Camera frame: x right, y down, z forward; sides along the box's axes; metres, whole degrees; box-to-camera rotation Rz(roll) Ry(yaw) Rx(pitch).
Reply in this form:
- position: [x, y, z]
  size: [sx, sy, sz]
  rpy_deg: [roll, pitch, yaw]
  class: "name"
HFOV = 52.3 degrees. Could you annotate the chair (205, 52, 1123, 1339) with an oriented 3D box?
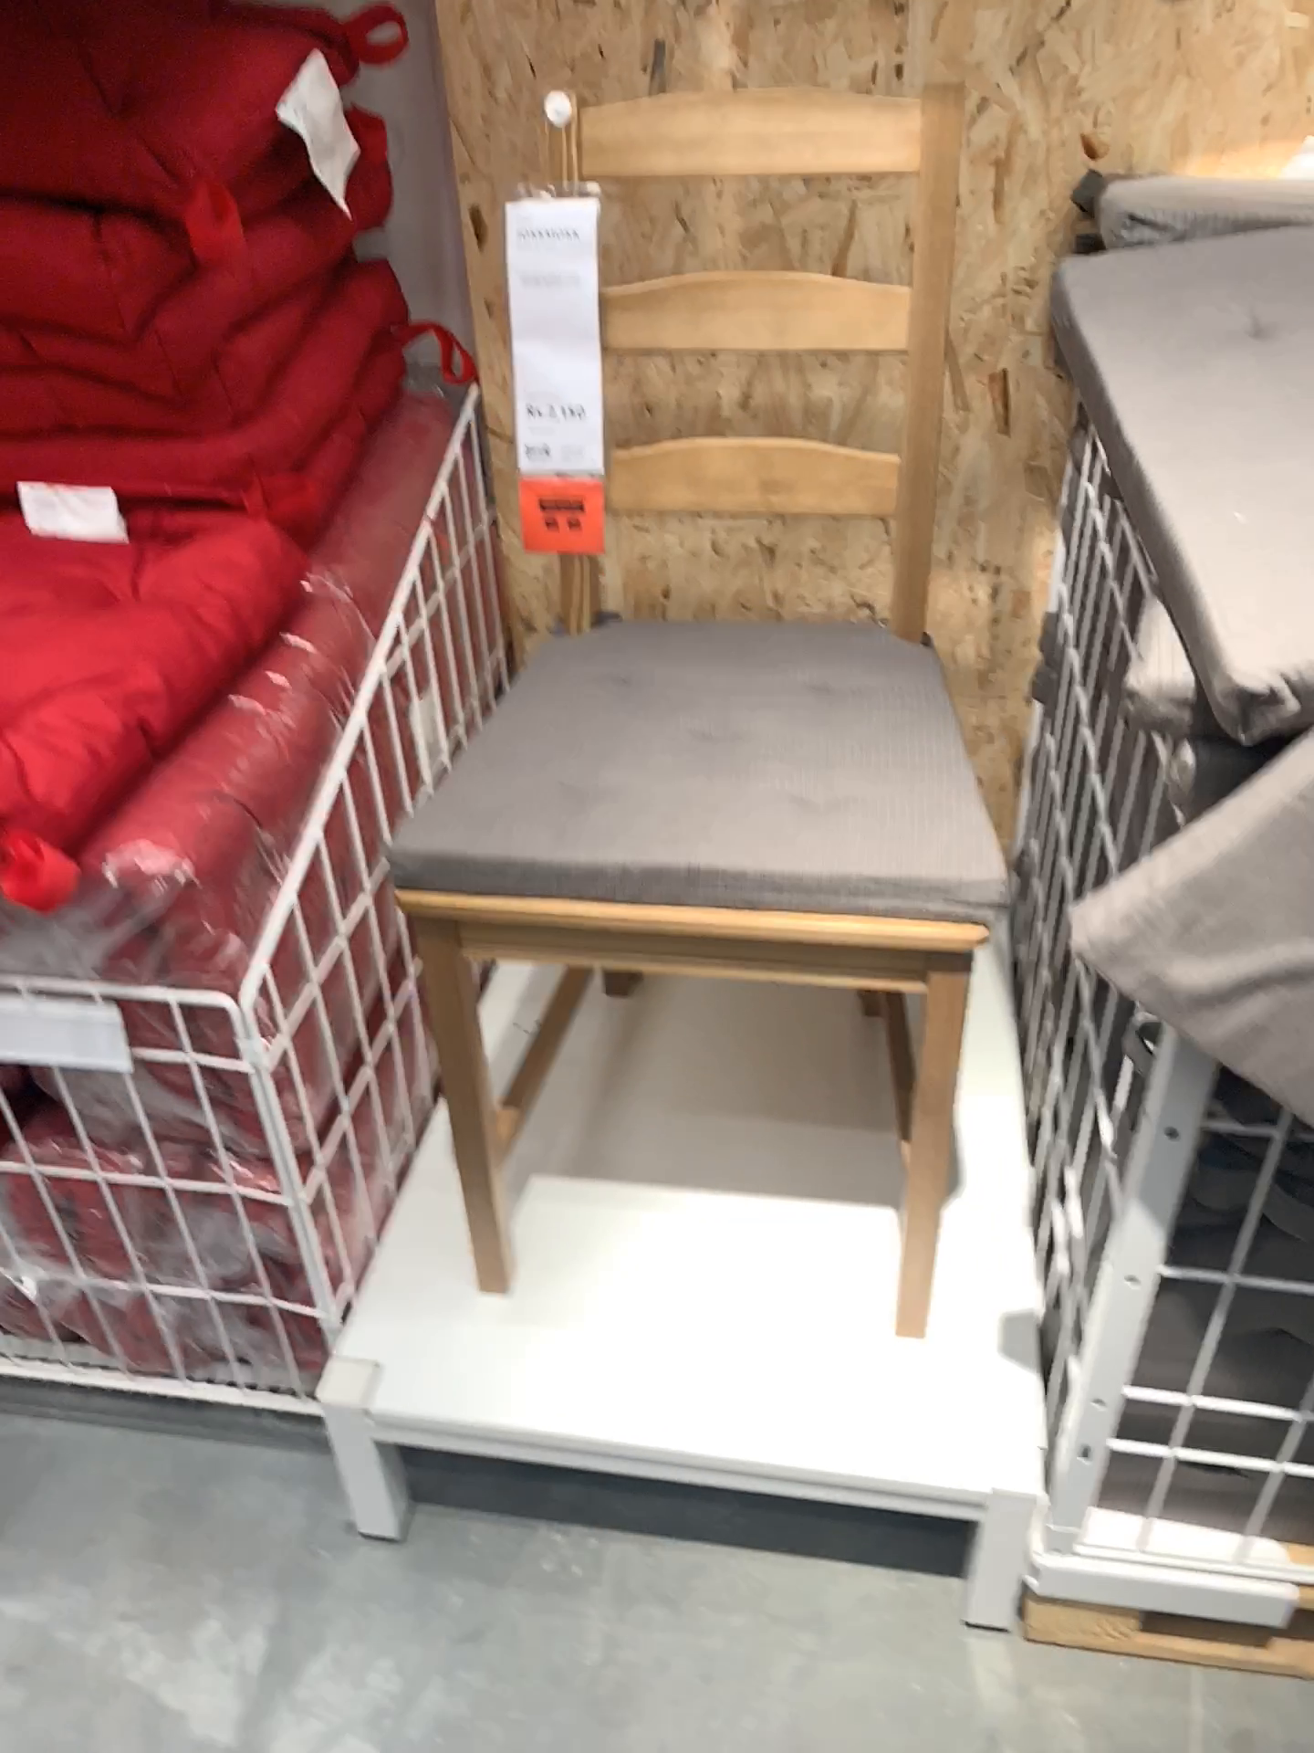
- position: [0.051, -0.129, 1.085]
  size: [0.440, 0.865, 0.503]
  rpy_deg: [3, 36, 9]
  class: "chair"
